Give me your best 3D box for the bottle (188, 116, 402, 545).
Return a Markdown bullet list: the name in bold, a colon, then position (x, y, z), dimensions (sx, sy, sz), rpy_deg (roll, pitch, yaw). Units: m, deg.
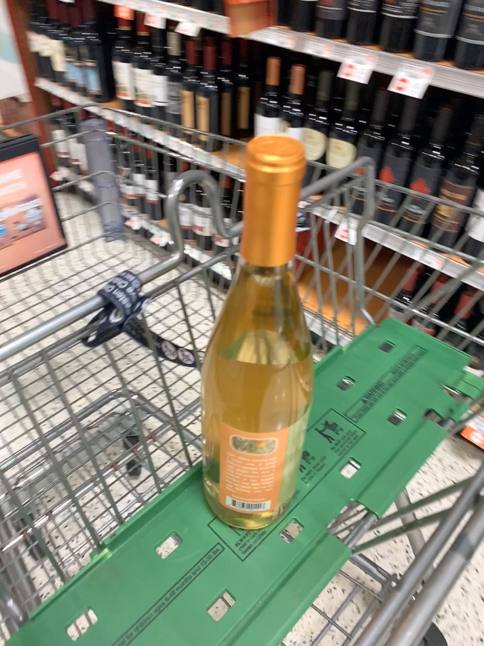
- **bottle**: position (0.013, 0.032, 0.325), dimensions (0.086, 0.297, 0.084), rpy_deg (1, 41, -1)
